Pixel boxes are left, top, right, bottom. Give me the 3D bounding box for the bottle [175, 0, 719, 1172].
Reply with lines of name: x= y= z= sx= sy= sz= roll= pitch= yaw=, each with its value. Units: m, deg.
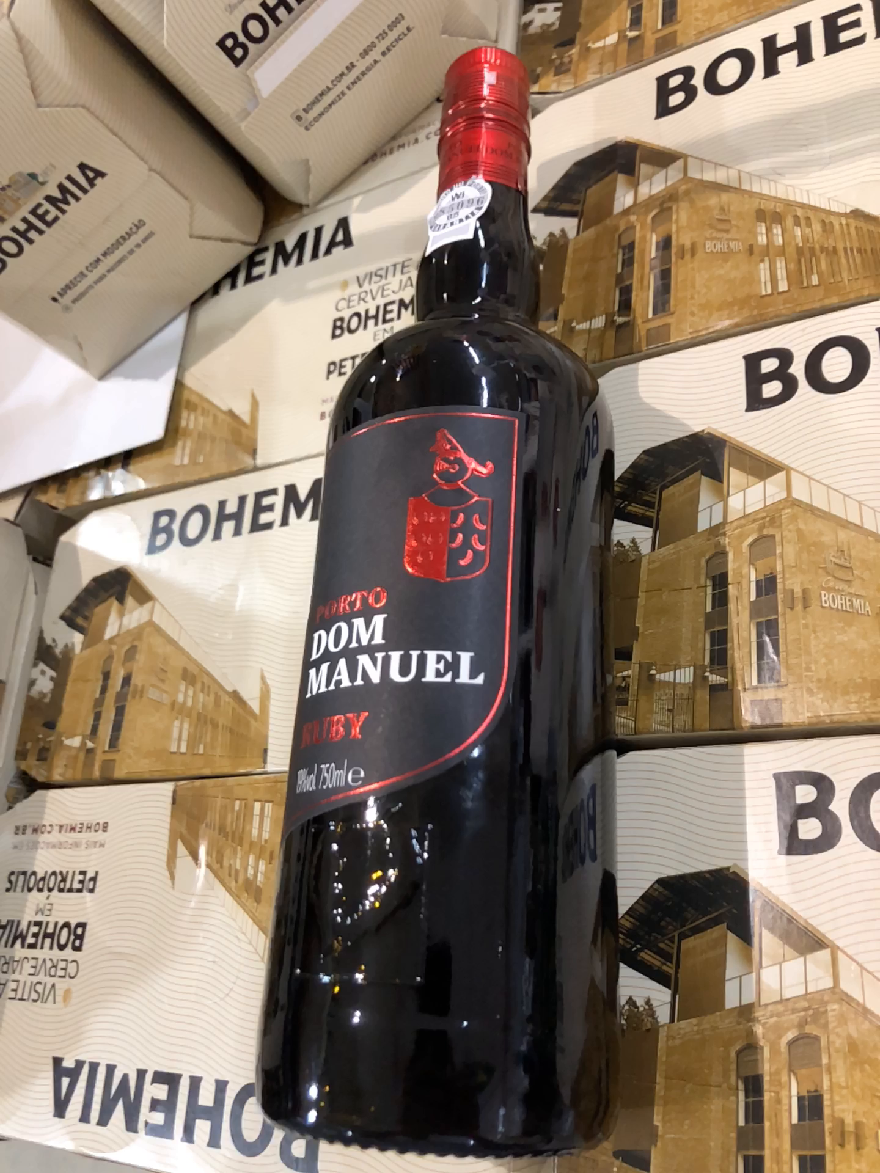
bottle: x=0.012 y=-0.033 z=0.259 sx=0.090 sy=0.070 sz=0.331 roll=-7 pitch=67 yaw=23
